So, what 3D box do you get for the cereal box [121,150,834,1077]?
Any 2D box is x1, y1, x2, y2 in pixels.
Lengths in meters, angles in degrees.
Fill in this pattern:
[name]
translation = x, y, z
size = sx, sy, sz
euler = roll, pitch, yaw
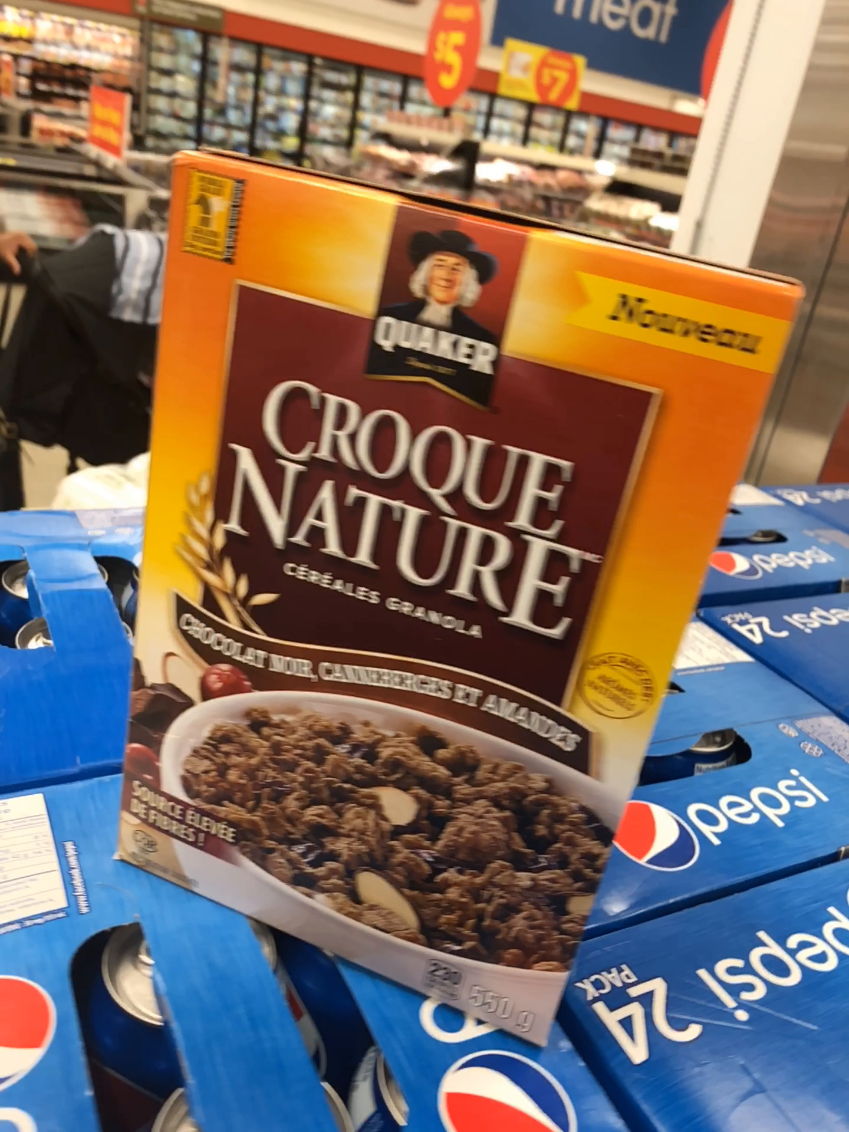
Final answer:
[cereal box]
translation = 0.000, 0.015, 0.282
size = 0.160, 0.229, 0.060
euler = 17, 25, 16
